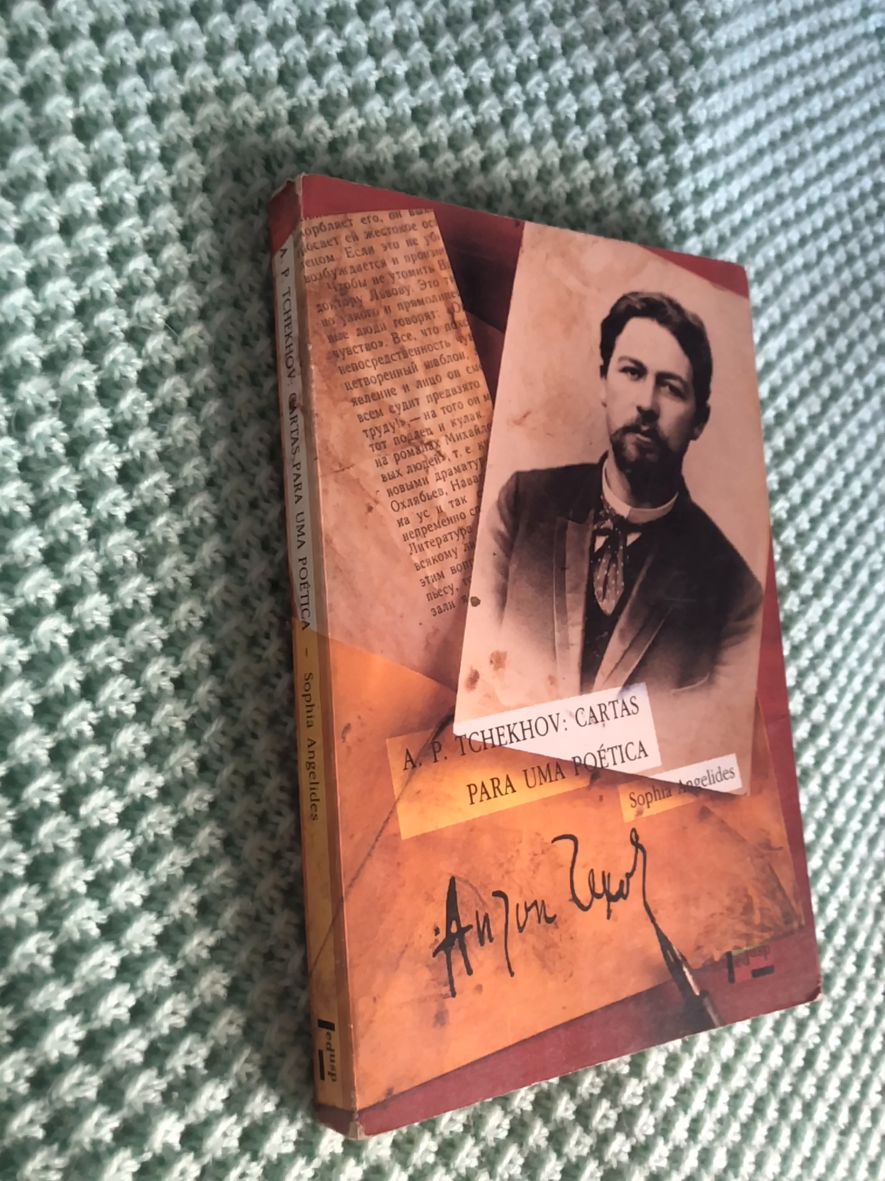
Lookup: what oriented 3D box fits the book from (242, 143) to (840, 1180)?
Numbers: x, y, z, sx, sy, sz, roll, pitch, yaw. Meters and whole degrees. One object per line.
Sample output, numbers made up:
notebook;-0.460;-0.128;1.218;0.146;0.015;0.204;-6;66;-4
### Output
book;0.031;0.011;0.253;0.151;0.030;0.210;0;82;-35
